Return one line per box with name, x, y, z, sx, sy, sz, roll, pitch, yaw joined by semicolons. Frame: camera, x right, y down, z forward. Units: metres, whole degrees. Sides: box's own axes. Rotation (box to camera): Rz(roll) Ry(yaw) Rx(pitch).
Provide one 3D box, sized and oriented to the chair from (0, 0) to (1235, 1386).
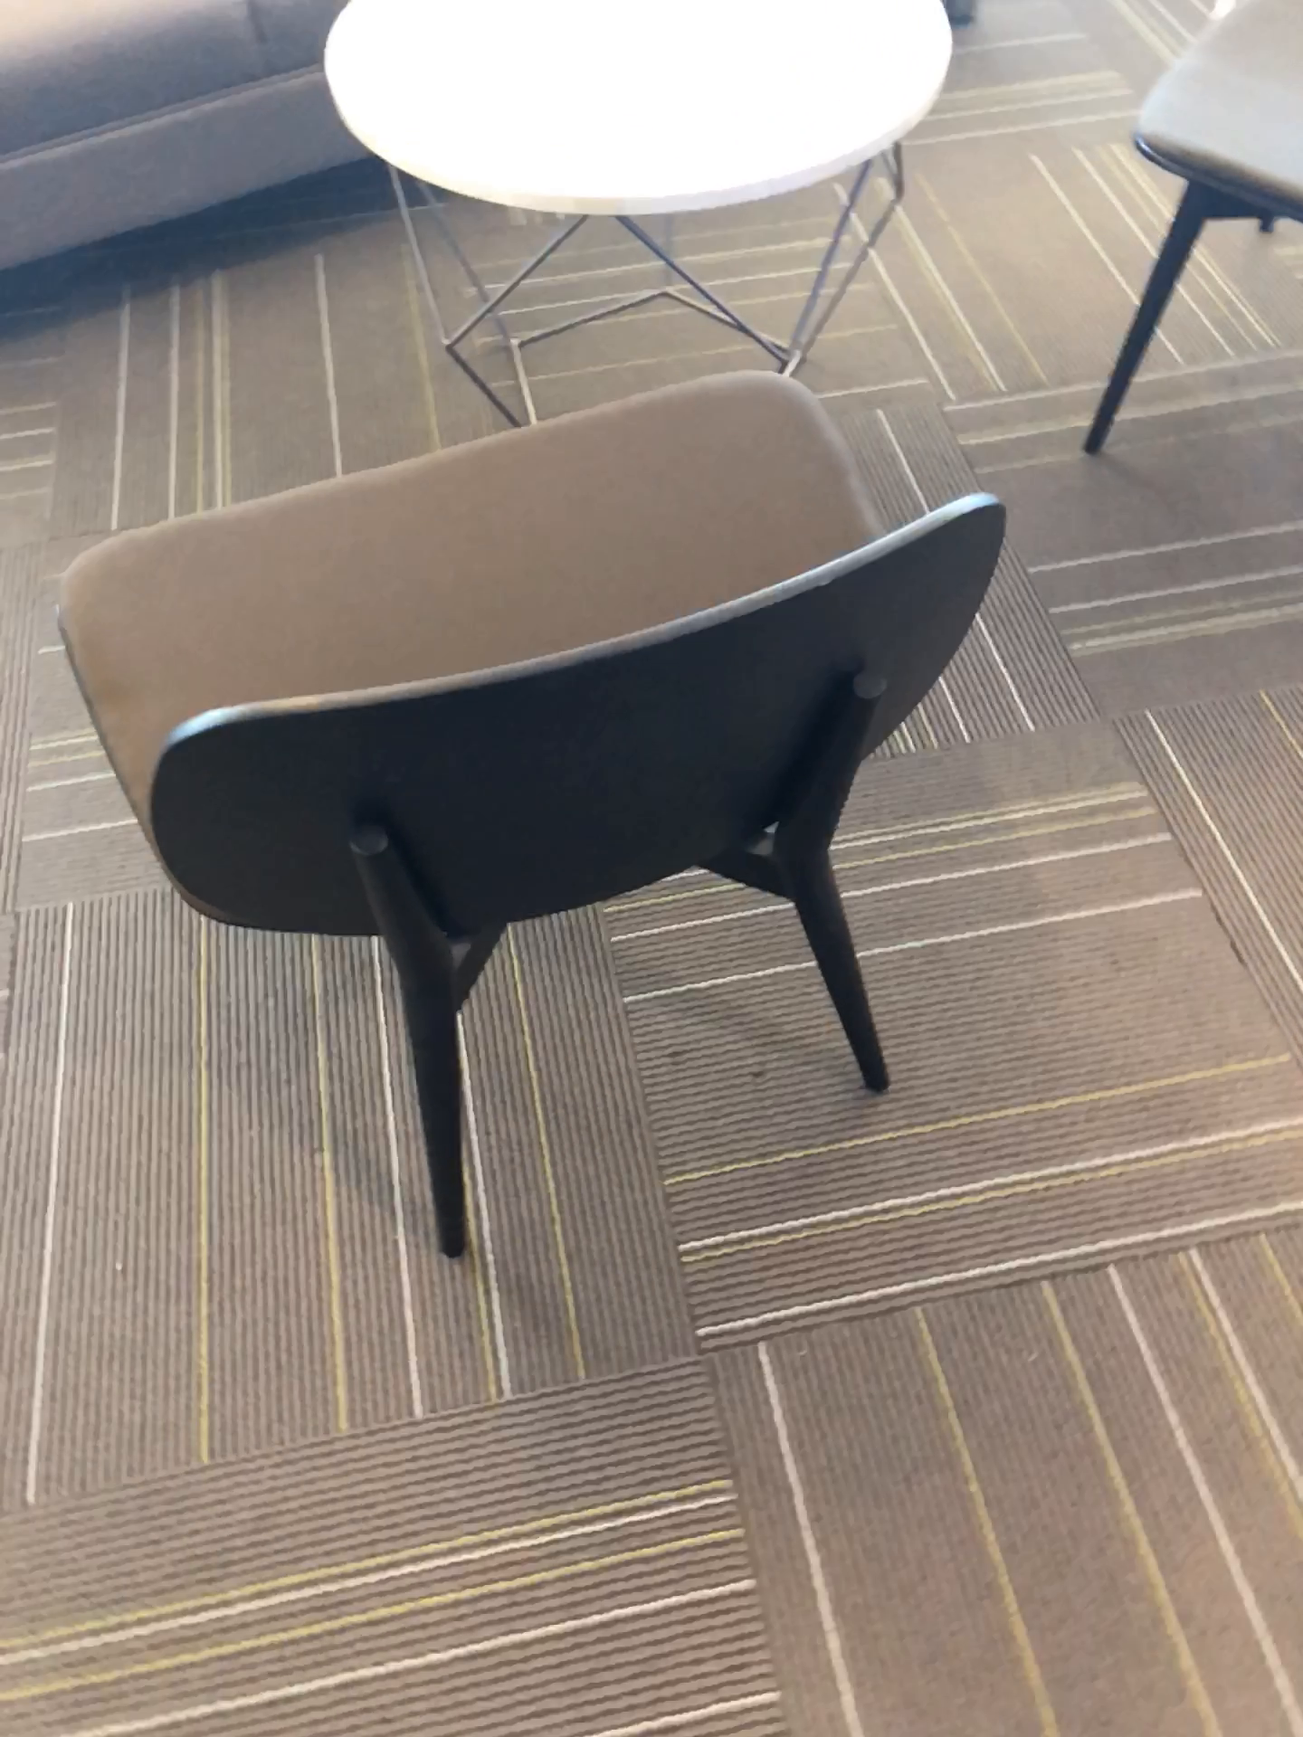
chair;-0.118;-0.160;1.224;0.670;0.738;0.742;-20;54;-12
